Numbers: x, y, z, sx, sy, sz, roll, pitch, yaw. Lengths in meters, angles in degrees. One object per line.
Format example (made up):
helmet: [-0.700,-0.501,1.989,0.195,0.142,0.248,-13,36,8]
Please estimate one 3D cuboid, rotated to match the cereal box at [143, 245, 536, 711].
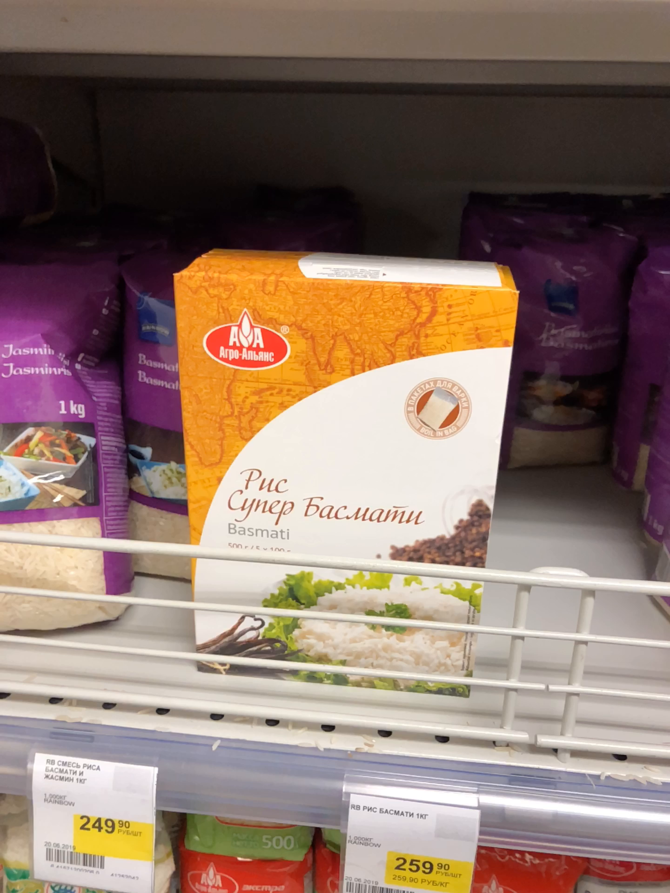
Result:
cereal box: [0.002,0.014,0.327,0.140,0.189,0.060,3,23,6]
